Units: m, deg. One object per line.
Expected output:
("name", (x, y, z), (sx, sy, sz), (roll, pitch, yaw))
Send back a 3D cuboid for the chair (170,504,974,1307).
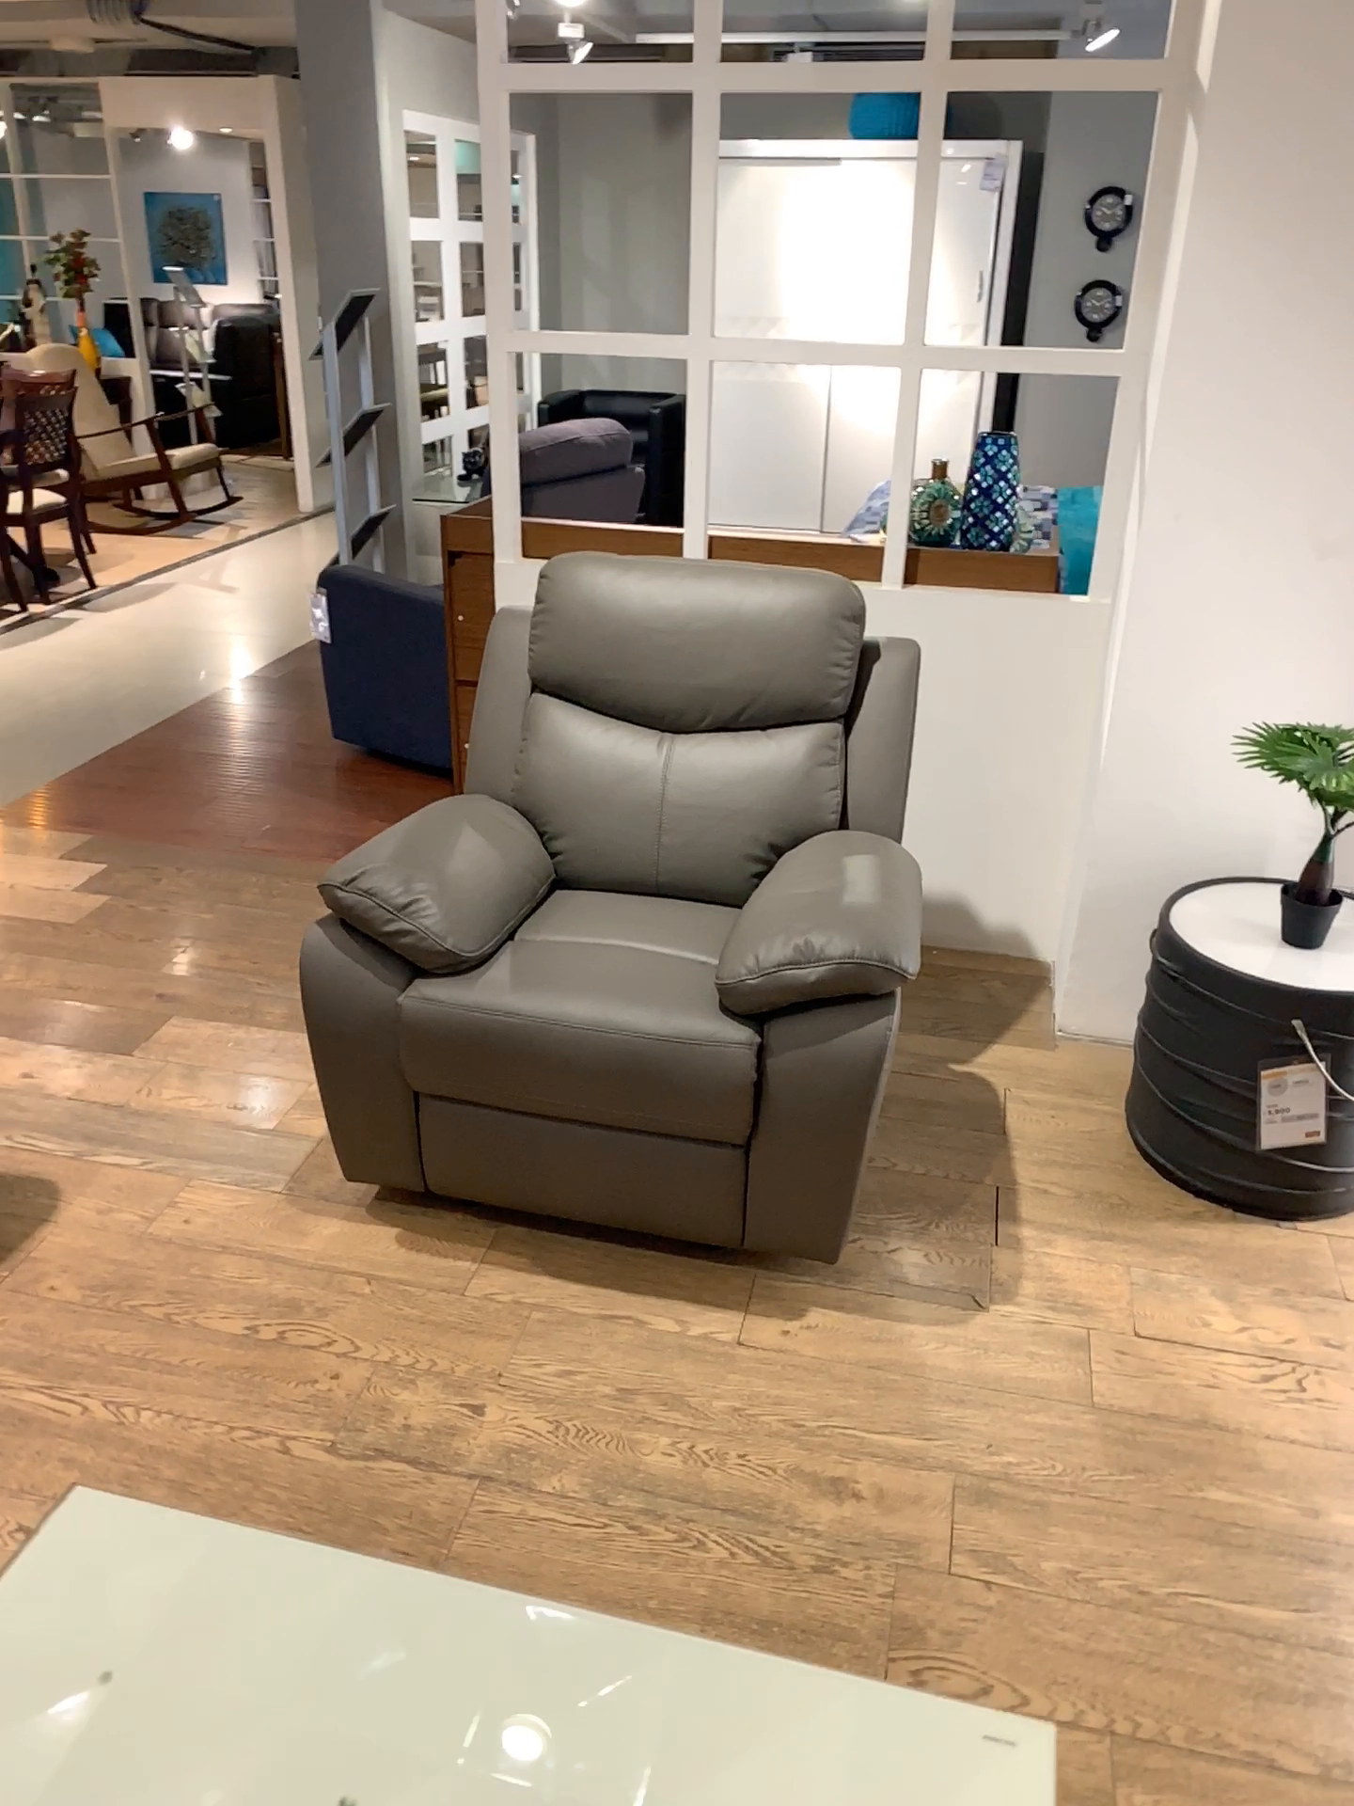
("chair", (-0.079, -0.091, 2.324), (1.000, 0.936, 0.944), (7, 26, 12))
